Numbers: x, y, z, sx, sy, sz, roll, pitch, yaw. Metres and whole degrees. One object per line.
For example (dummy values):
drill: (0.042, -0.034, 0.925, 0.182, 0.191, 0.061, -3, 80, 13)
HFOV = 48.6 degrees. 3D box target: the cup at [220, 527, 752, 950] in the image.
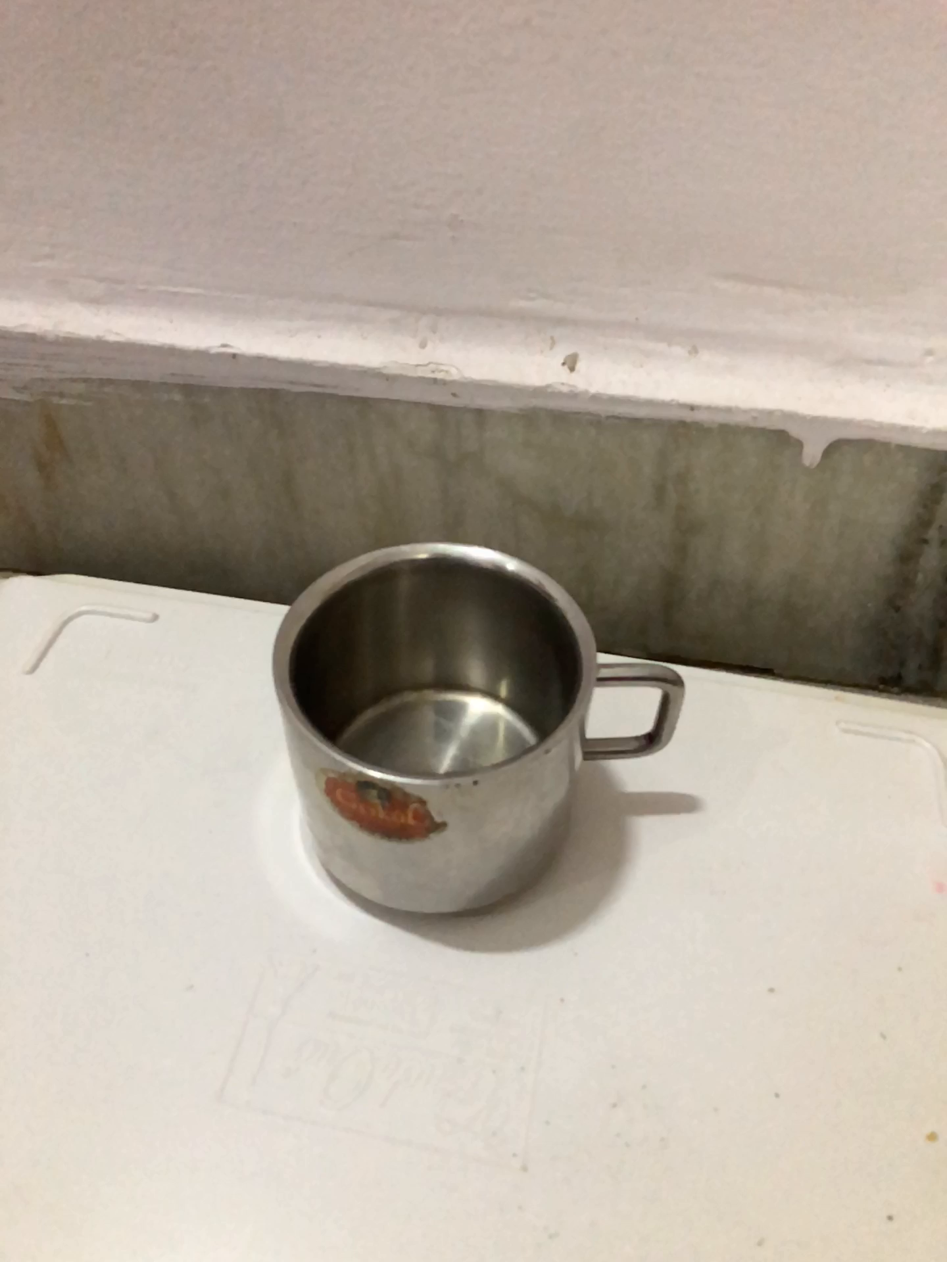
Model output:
cup: (0.003, 0.023, 0.243, 0.100, 0.050, 0.081, 2, 45, 1)
